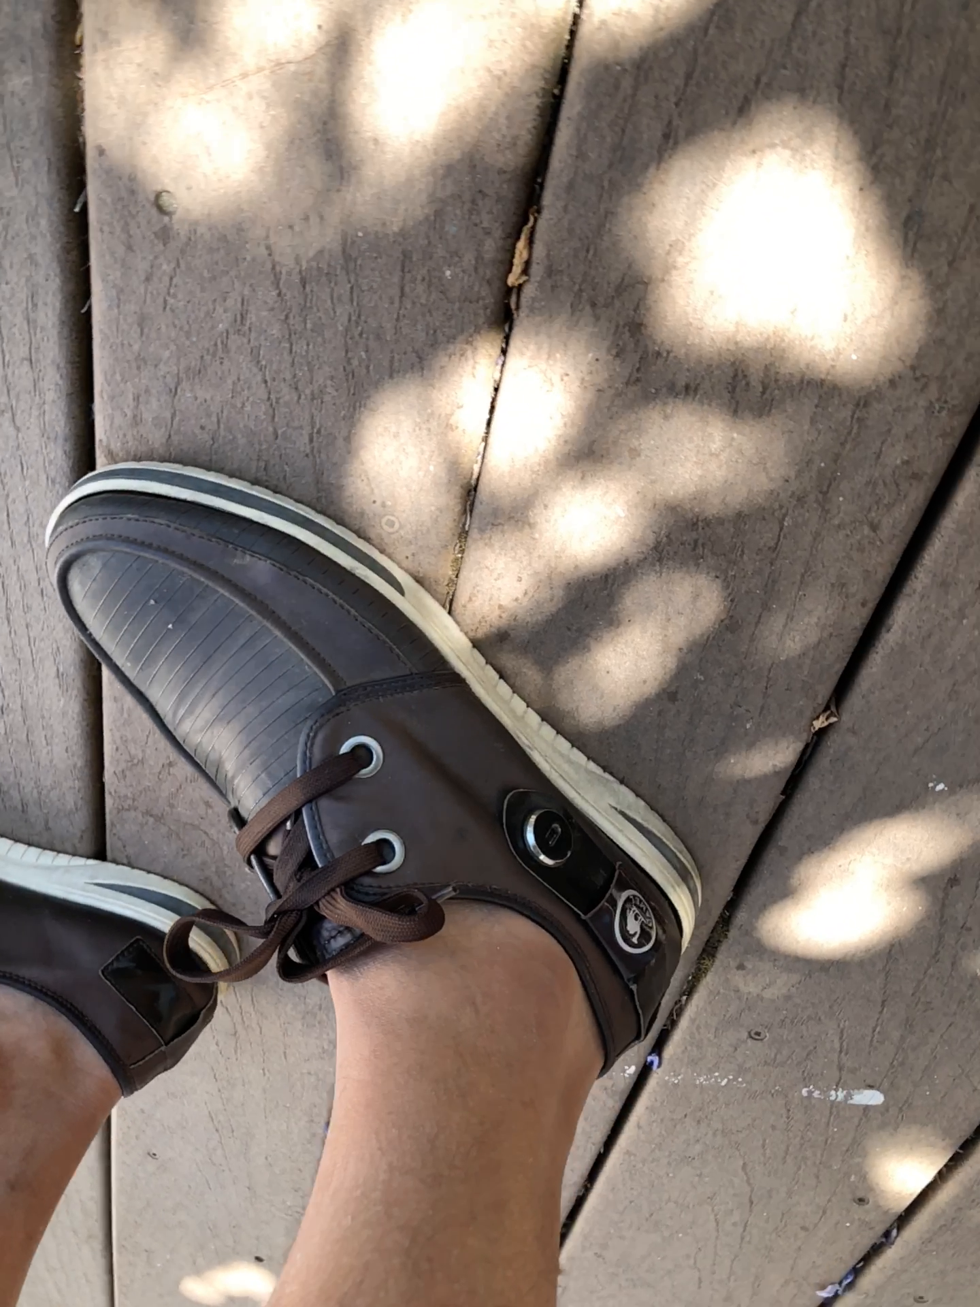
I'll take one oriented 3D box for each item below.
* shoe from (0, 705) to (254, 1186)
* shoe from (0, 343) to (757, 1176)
[{"bbox_3d":[-0.259,0.124,0.483,0.283,0.096,0.104,13,125,9],"label":"shoe"},{"bbox_3d":[-0.049,0.043,0.360,0.277,0.089,0.104,41,125,-11],"label":"shoe"}]
